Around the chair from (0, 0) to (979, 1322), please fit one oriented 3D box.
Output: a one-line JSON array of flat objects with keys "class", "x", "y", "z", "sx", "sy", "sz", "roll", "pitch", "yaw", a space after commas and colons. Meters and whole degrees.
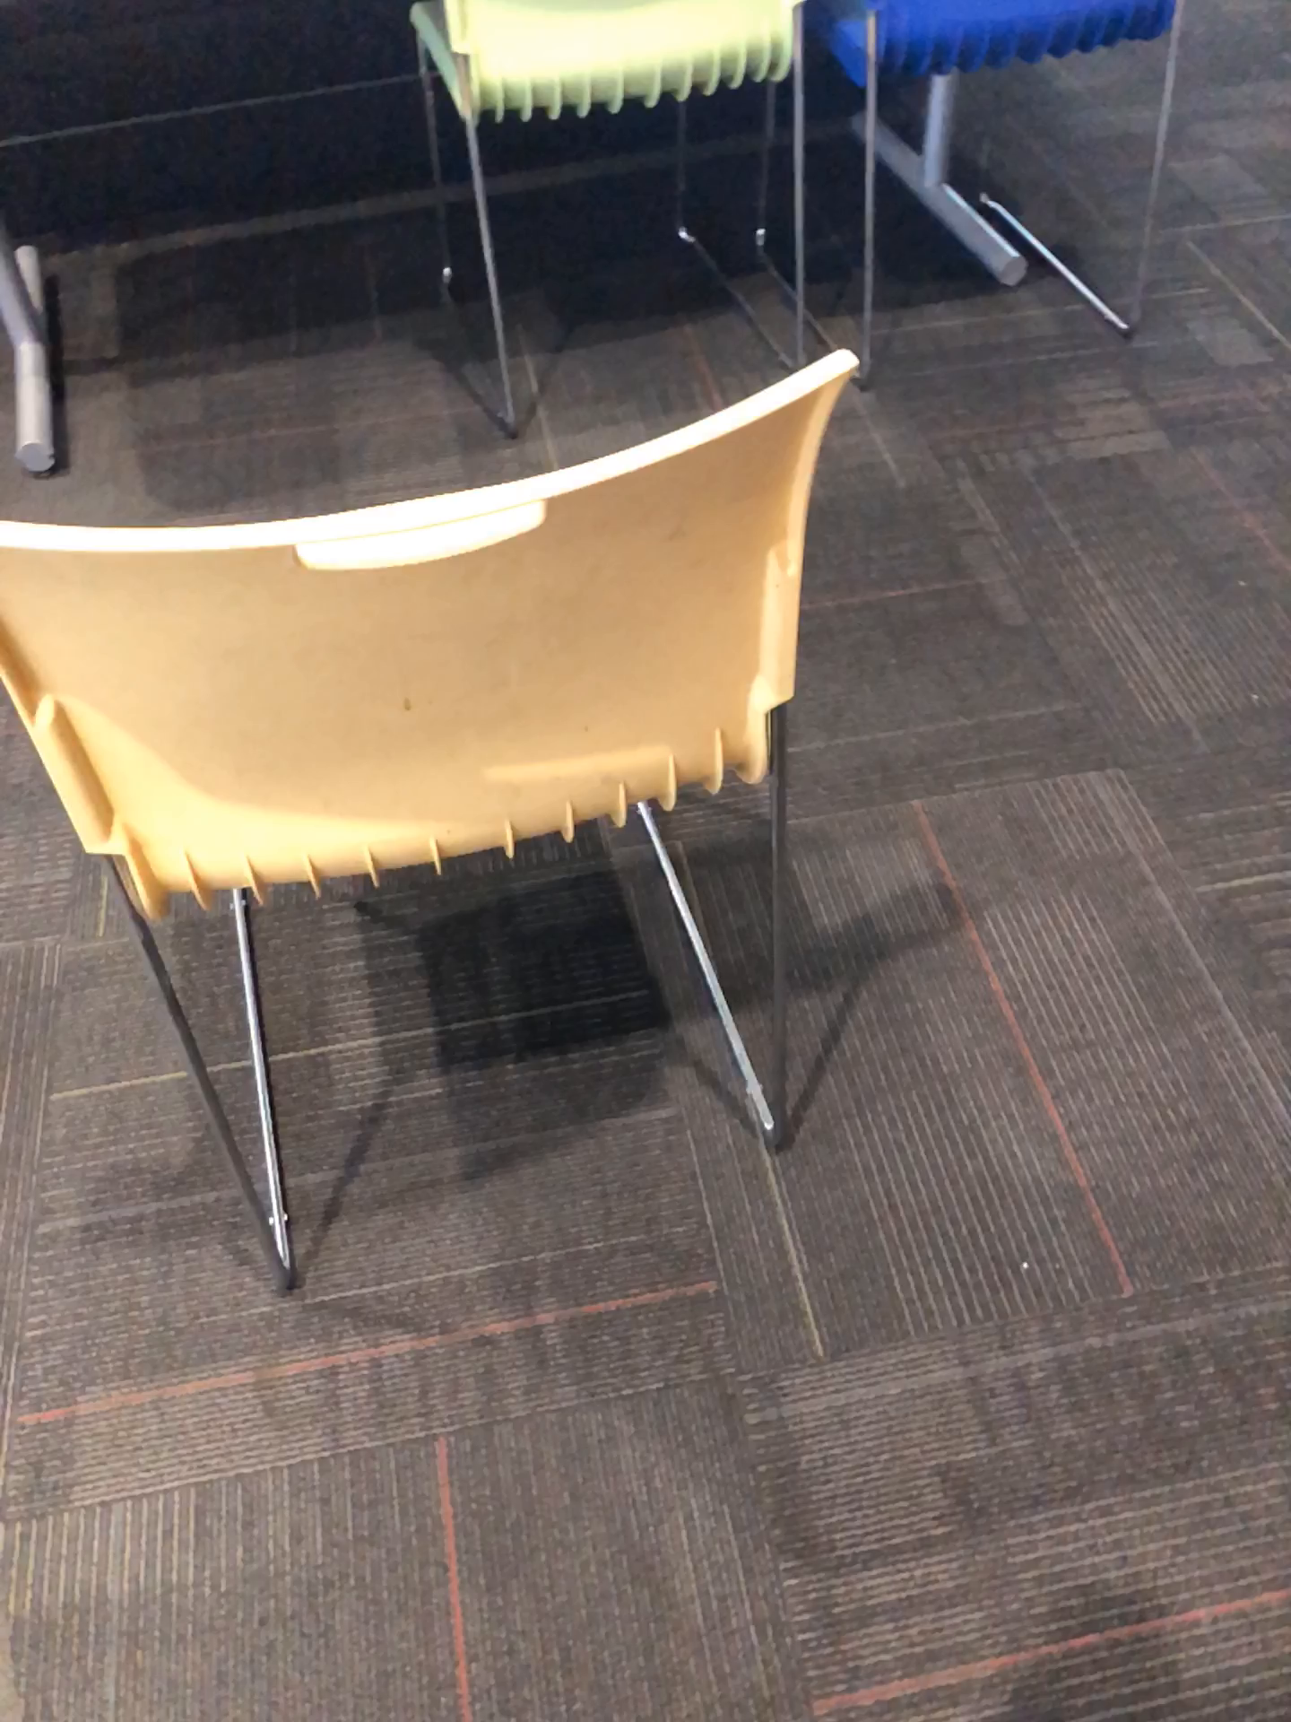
[{"class": "chair", "x": -0.177, "y": -0.137, "z": 1.096, "sx": 0.570, "sy": 0.737, "sz": 0.562, "roll": -12, "pitch": 49, "yaw": -9}]
